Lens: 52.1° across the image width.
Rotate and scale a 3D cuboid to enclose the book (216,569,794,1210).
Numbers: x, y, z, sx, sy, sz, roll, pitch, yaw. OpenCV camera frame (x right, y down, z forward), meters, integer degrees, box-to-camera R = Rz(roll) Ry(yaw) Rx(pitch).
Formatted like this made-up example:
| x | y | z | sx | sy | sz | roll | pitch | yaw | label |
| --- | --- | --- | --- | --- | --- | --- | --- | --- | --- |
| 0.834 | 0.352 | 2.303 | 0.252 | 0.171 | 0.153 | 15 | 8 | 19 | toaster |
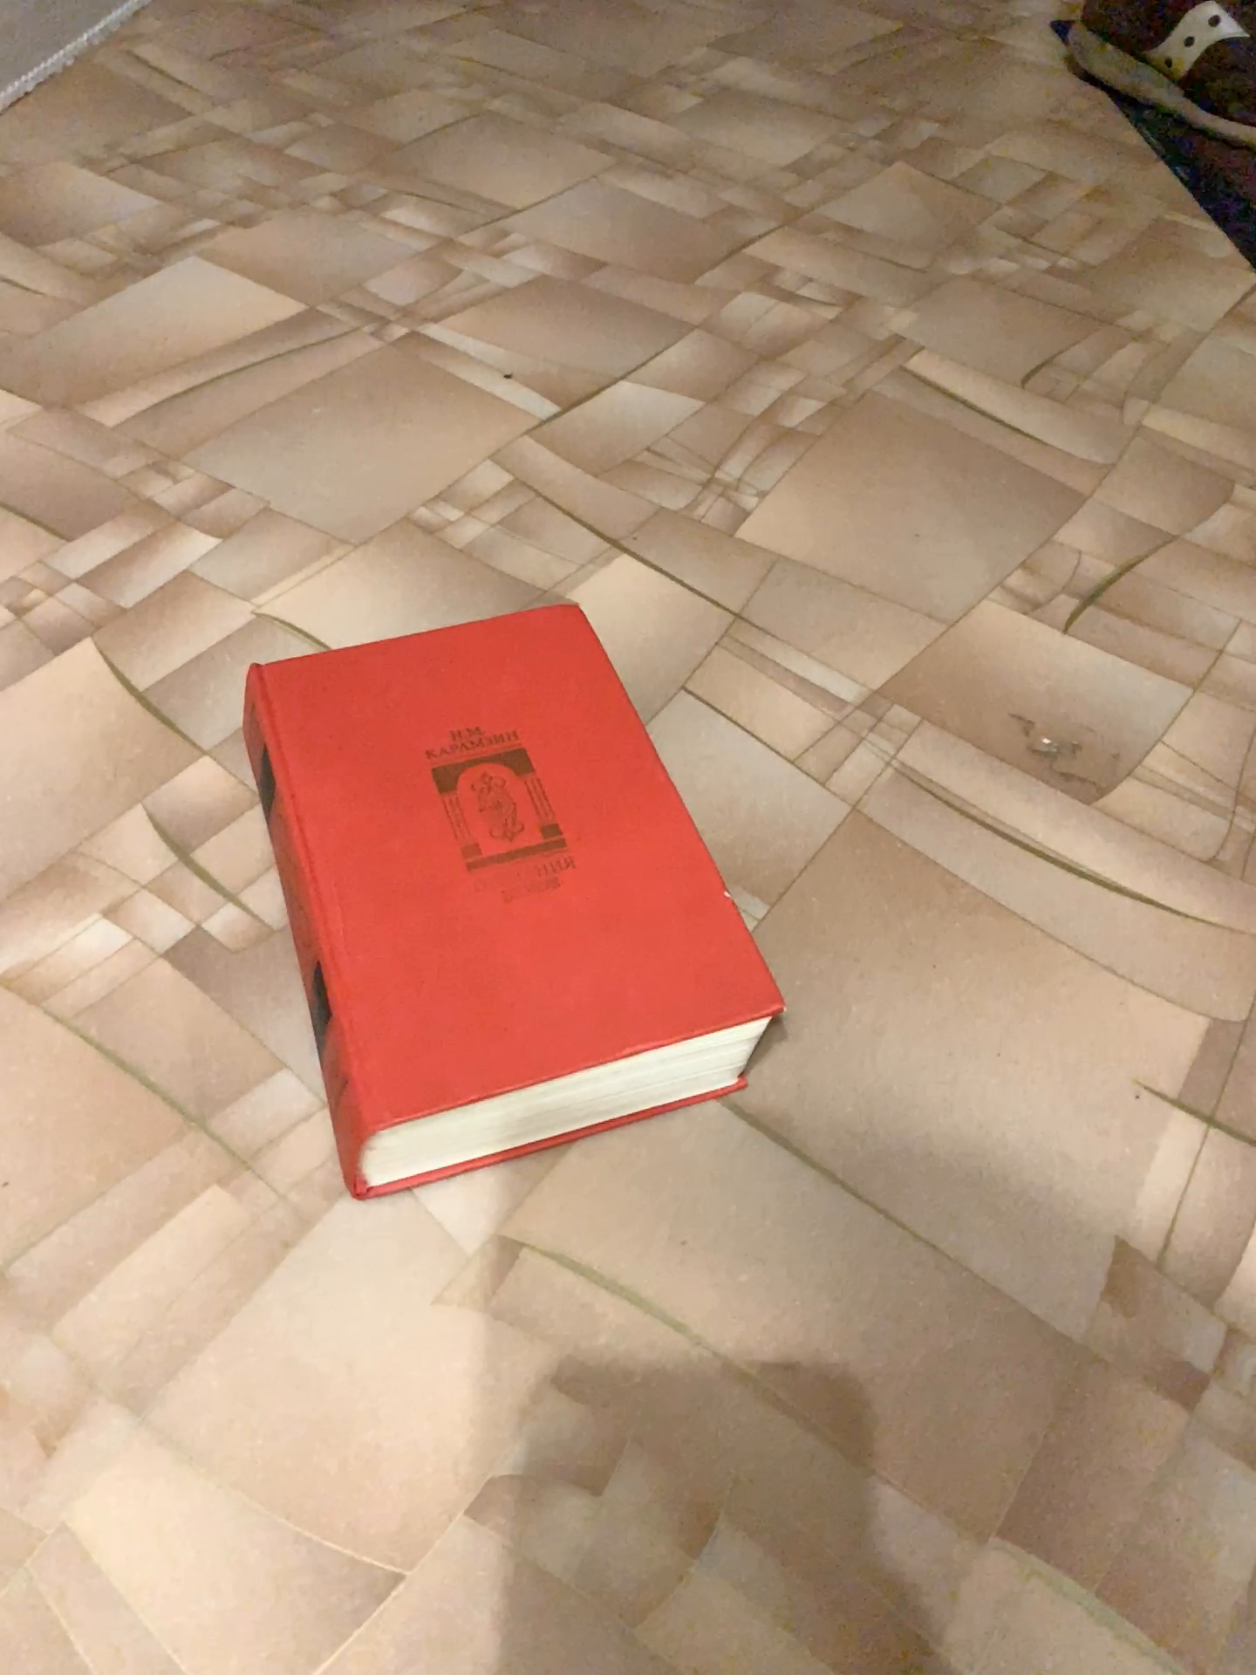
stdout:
| x | y | z | sx | sy | sz | roll | pitch | yaw | label |
| --- | --- | --- | --- | --- | --- | --- | --- | --- | --- |
| -0.050 | 0.004 | 0.438 | 0.140 | 0.050 | 0.201 | -15 | 52 | -12 | book |
